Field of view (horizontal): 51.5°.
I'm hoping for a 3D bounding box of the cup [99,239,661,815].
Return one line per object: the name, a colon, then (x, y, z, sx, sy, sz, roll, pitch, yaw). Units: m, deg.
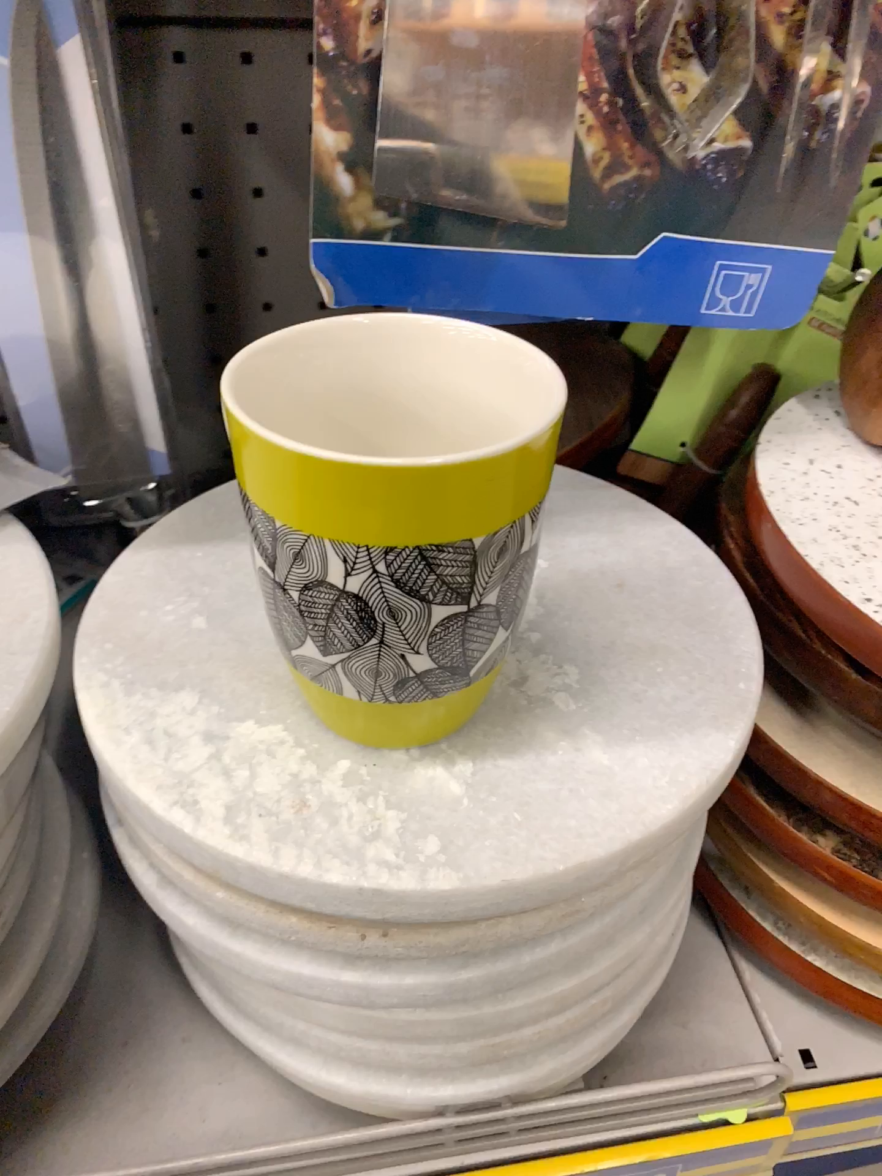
cup: (-0.019, -0.024, 0.242, 0.080, 0.090, 0.110, -28, 48, -32)
